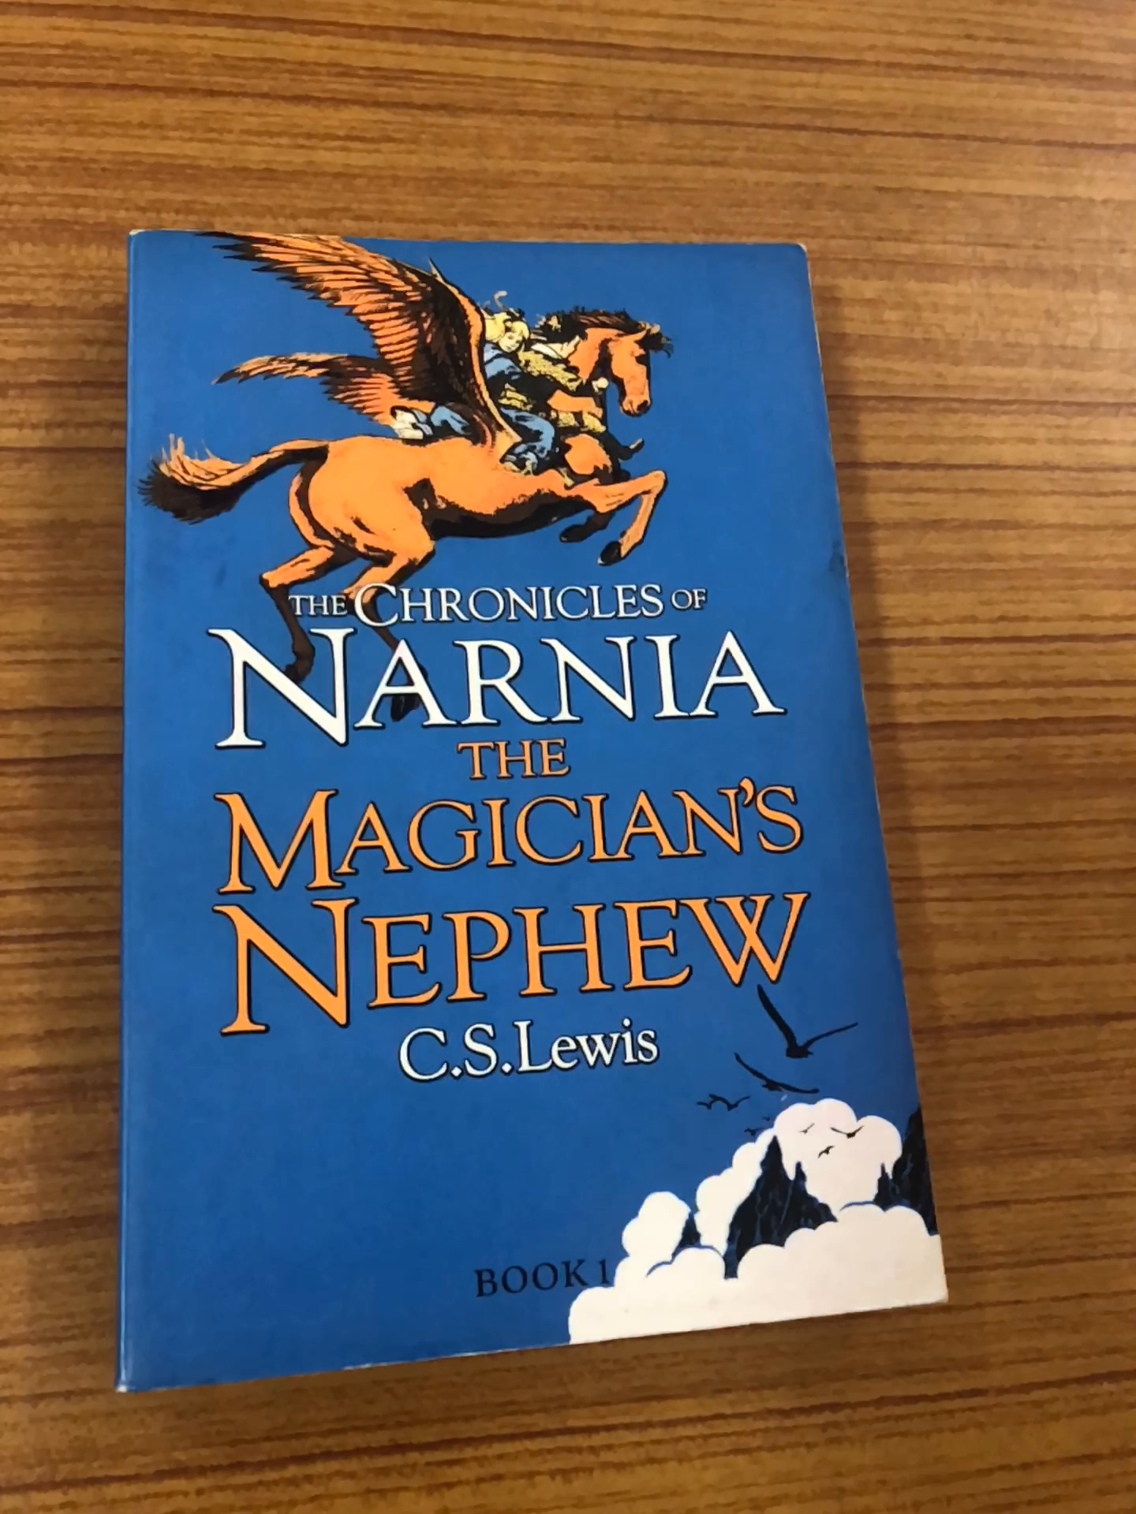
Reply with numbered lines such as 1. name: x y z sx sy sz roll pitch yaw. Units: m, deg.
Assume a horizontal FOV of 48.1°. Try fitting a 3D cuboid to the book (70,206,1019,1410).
1. book: -0.008 -0.001 0.222 0.140 0.030 0.190 -2 76 -9
